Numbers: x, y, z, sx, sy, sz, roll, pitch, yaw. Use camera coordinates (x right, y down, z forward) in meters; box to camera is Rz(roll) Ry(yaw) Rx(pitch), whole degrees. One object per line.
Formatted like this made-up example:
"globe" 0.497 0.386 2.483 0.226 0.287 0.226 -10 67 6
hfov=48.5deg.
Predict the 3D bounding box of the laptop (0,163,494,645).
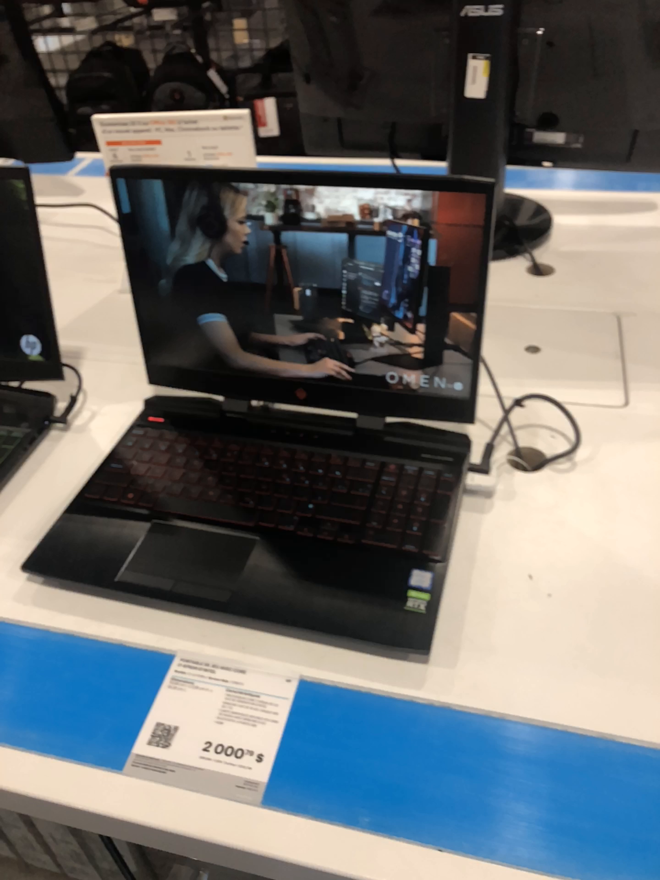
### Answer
"laptop" -0.066 -0.055 0.627 0.355 0.239 0.294 7 42 14
